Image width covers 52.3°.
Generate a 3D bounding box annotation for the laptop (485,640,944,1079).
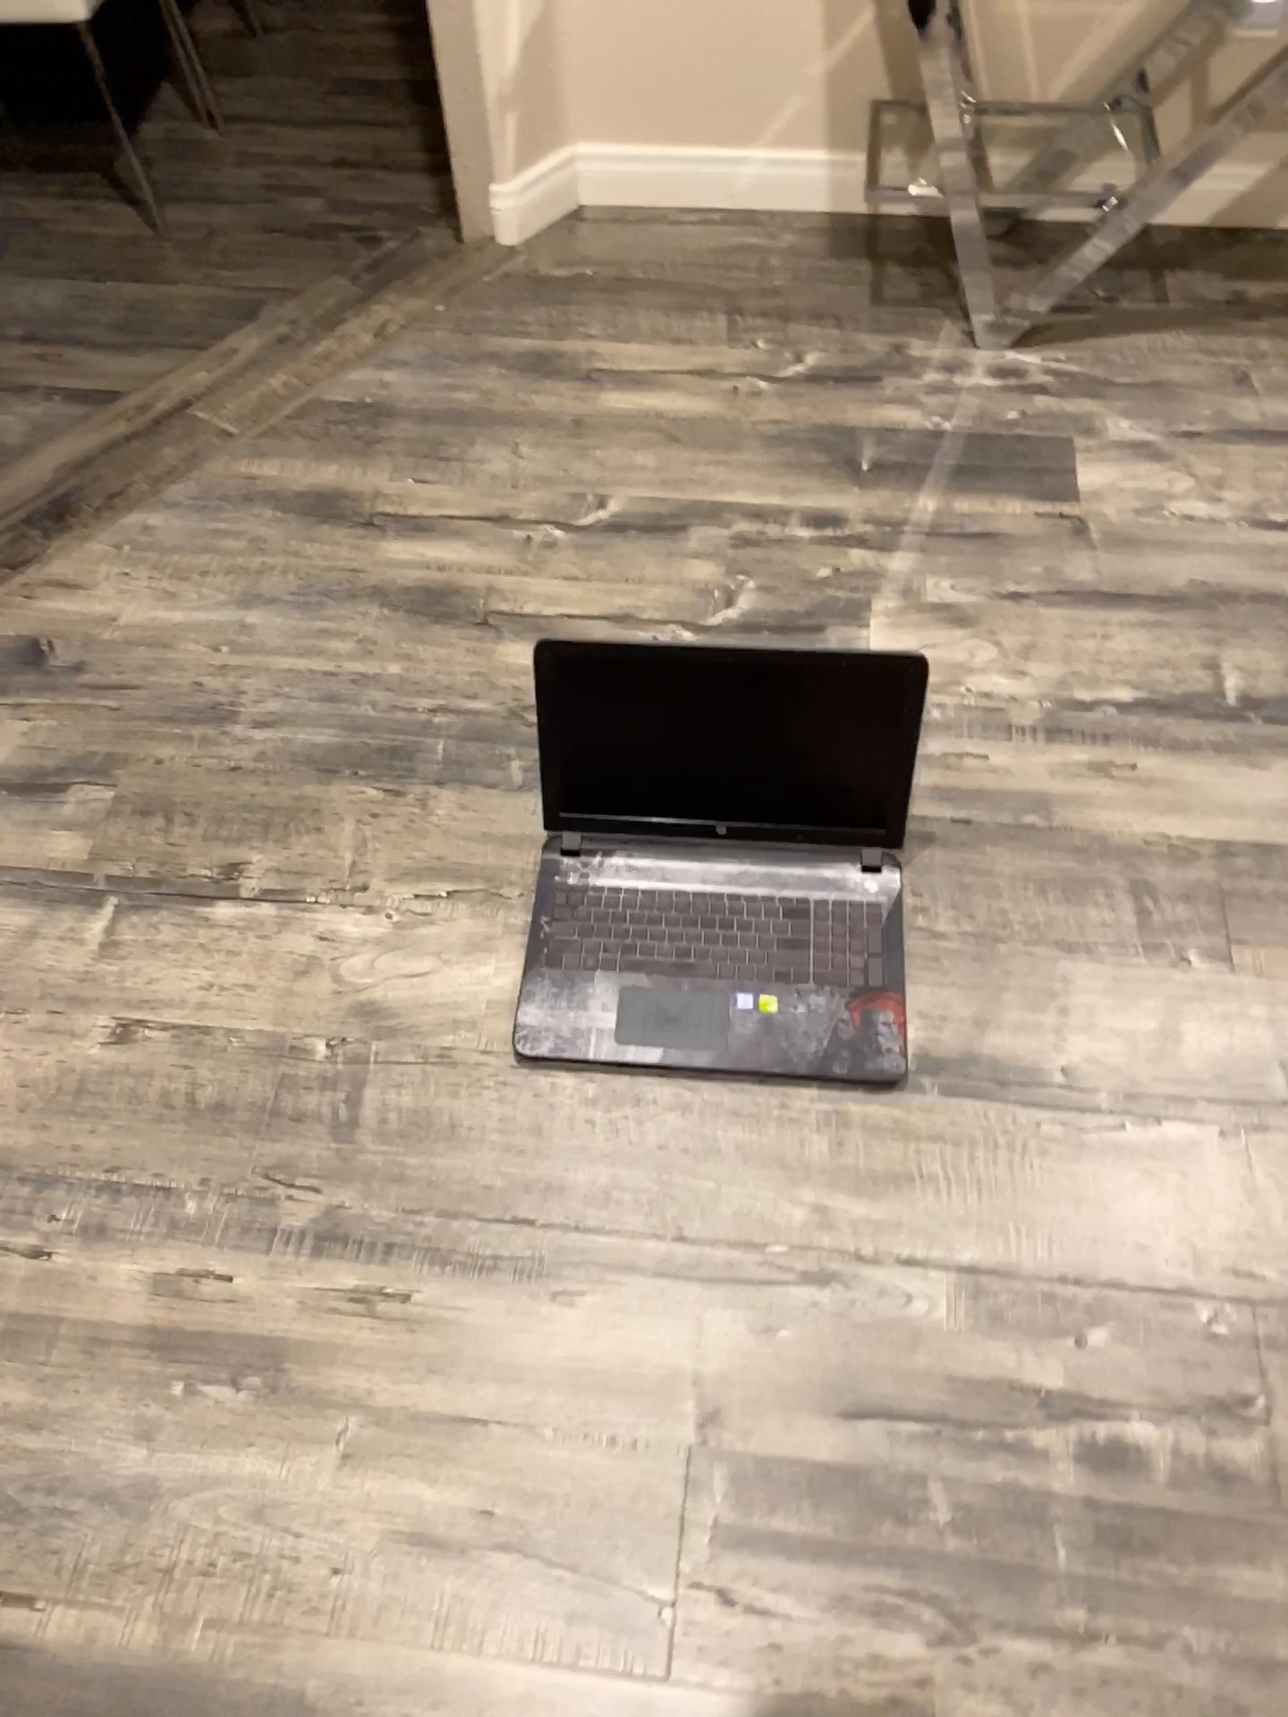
[{"bbox_3d":[0.073,-0.001,1.245,0.371,0.225,0.328,3,55,4],"label":"laptop"}]
